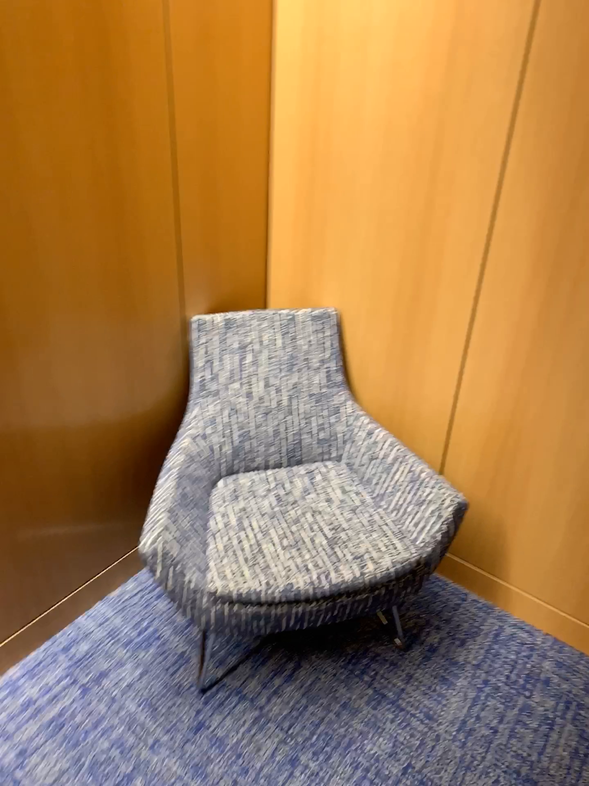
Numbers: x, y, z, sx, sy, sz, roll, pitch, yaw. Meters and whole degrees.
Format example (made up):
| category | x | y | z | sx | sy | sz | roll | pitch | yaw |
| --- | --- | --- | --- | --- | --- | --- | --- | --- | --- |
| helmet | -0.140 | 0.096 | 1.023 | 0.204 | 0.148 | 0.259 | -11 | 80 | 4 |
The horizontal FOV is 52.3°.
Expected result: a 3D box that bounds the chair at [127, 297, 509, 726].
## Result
| category | x | y | z | sx | sy | sz | roll | pitch | yaw |
| --- | --- | --- | --- | --- | --- | --- | --- | --- | --- |
| chair | -0.017 | 0.241 | 1.525 | 0.700 | 0.746 | 0.617 | -6 | 31 | -15 |
